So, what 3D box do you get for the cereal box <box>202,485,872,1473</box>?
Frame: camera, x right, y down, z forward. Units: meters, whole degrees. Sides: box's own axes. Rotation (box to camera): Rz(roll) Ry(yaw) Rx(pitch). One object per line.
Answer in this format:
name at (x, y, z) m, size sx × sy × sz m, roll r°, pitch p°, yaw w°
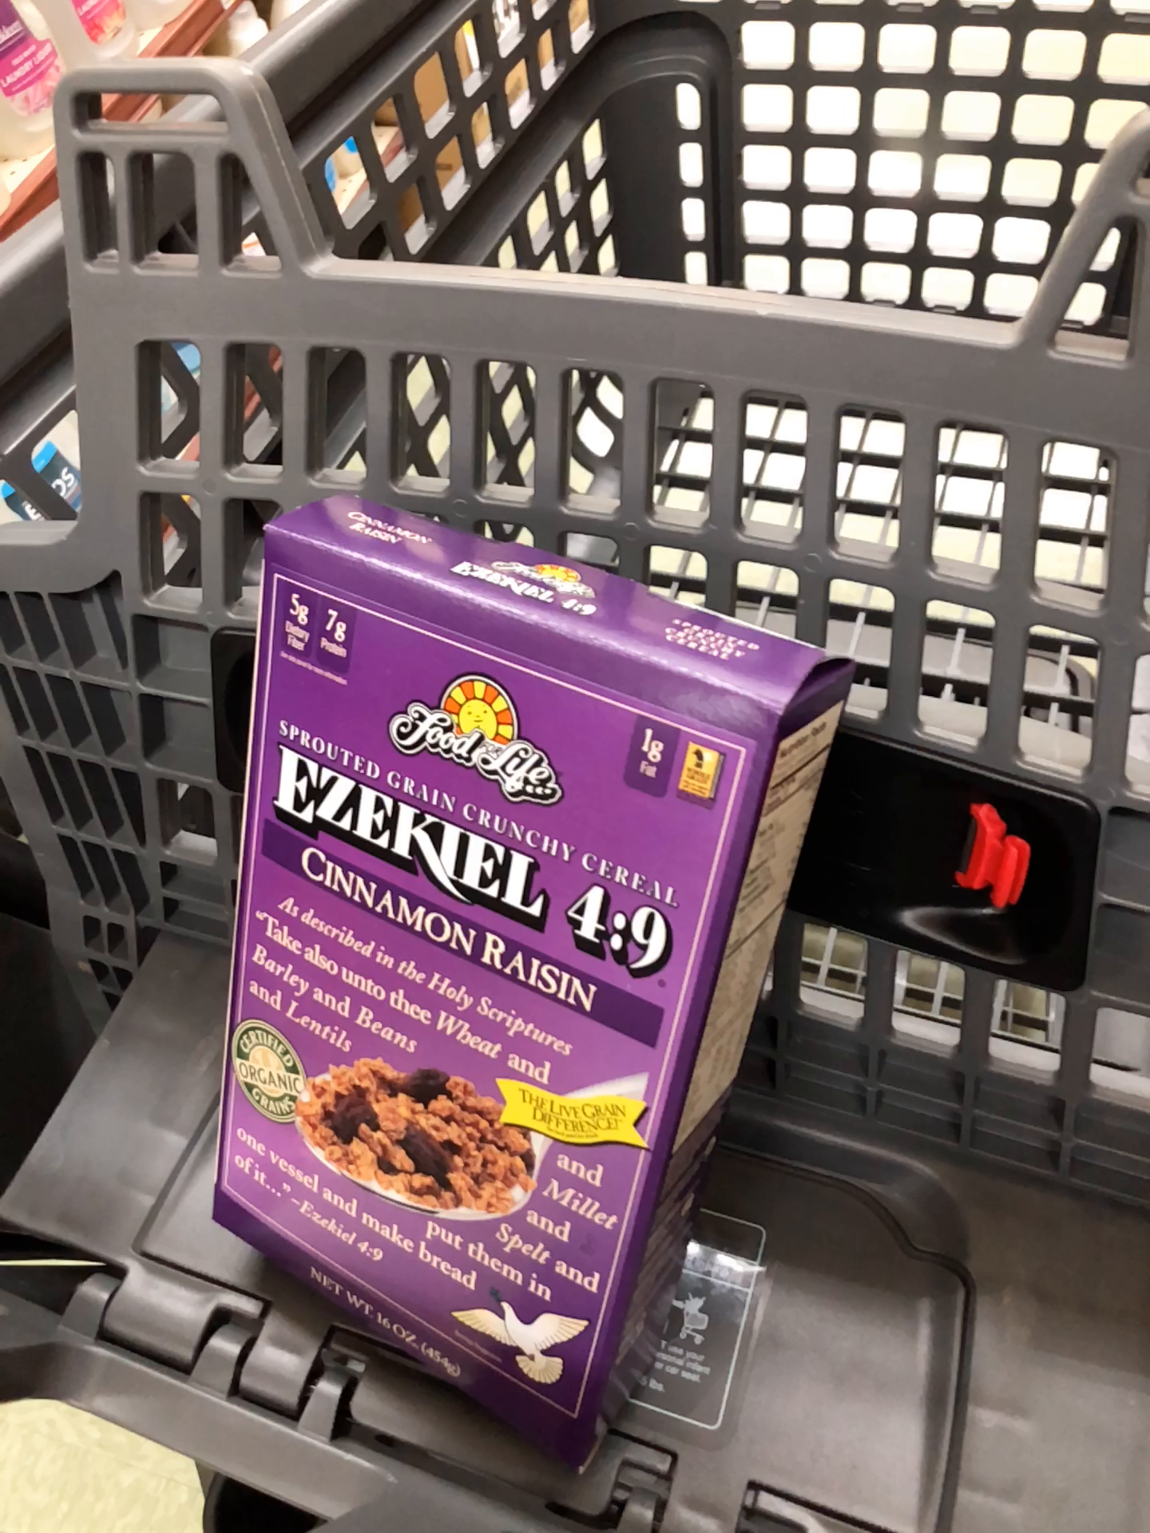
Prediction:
cereal box at (-0.026, 0.062, 0.377) m, size 0.150 × 0.250 × 0.060 m, roll 22°, pitch 26°, yaw 23°
